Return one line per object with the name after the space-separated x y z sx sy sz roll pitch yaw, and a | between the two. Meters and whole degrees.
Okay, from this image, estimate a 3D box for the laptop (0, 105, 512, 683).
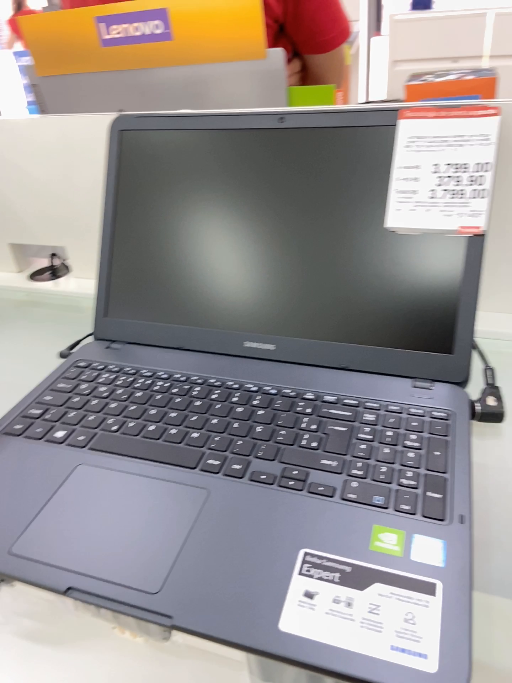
-0.026 -0.033 0.398 0.371 0.192 0.371 6 34 19 | laptop
